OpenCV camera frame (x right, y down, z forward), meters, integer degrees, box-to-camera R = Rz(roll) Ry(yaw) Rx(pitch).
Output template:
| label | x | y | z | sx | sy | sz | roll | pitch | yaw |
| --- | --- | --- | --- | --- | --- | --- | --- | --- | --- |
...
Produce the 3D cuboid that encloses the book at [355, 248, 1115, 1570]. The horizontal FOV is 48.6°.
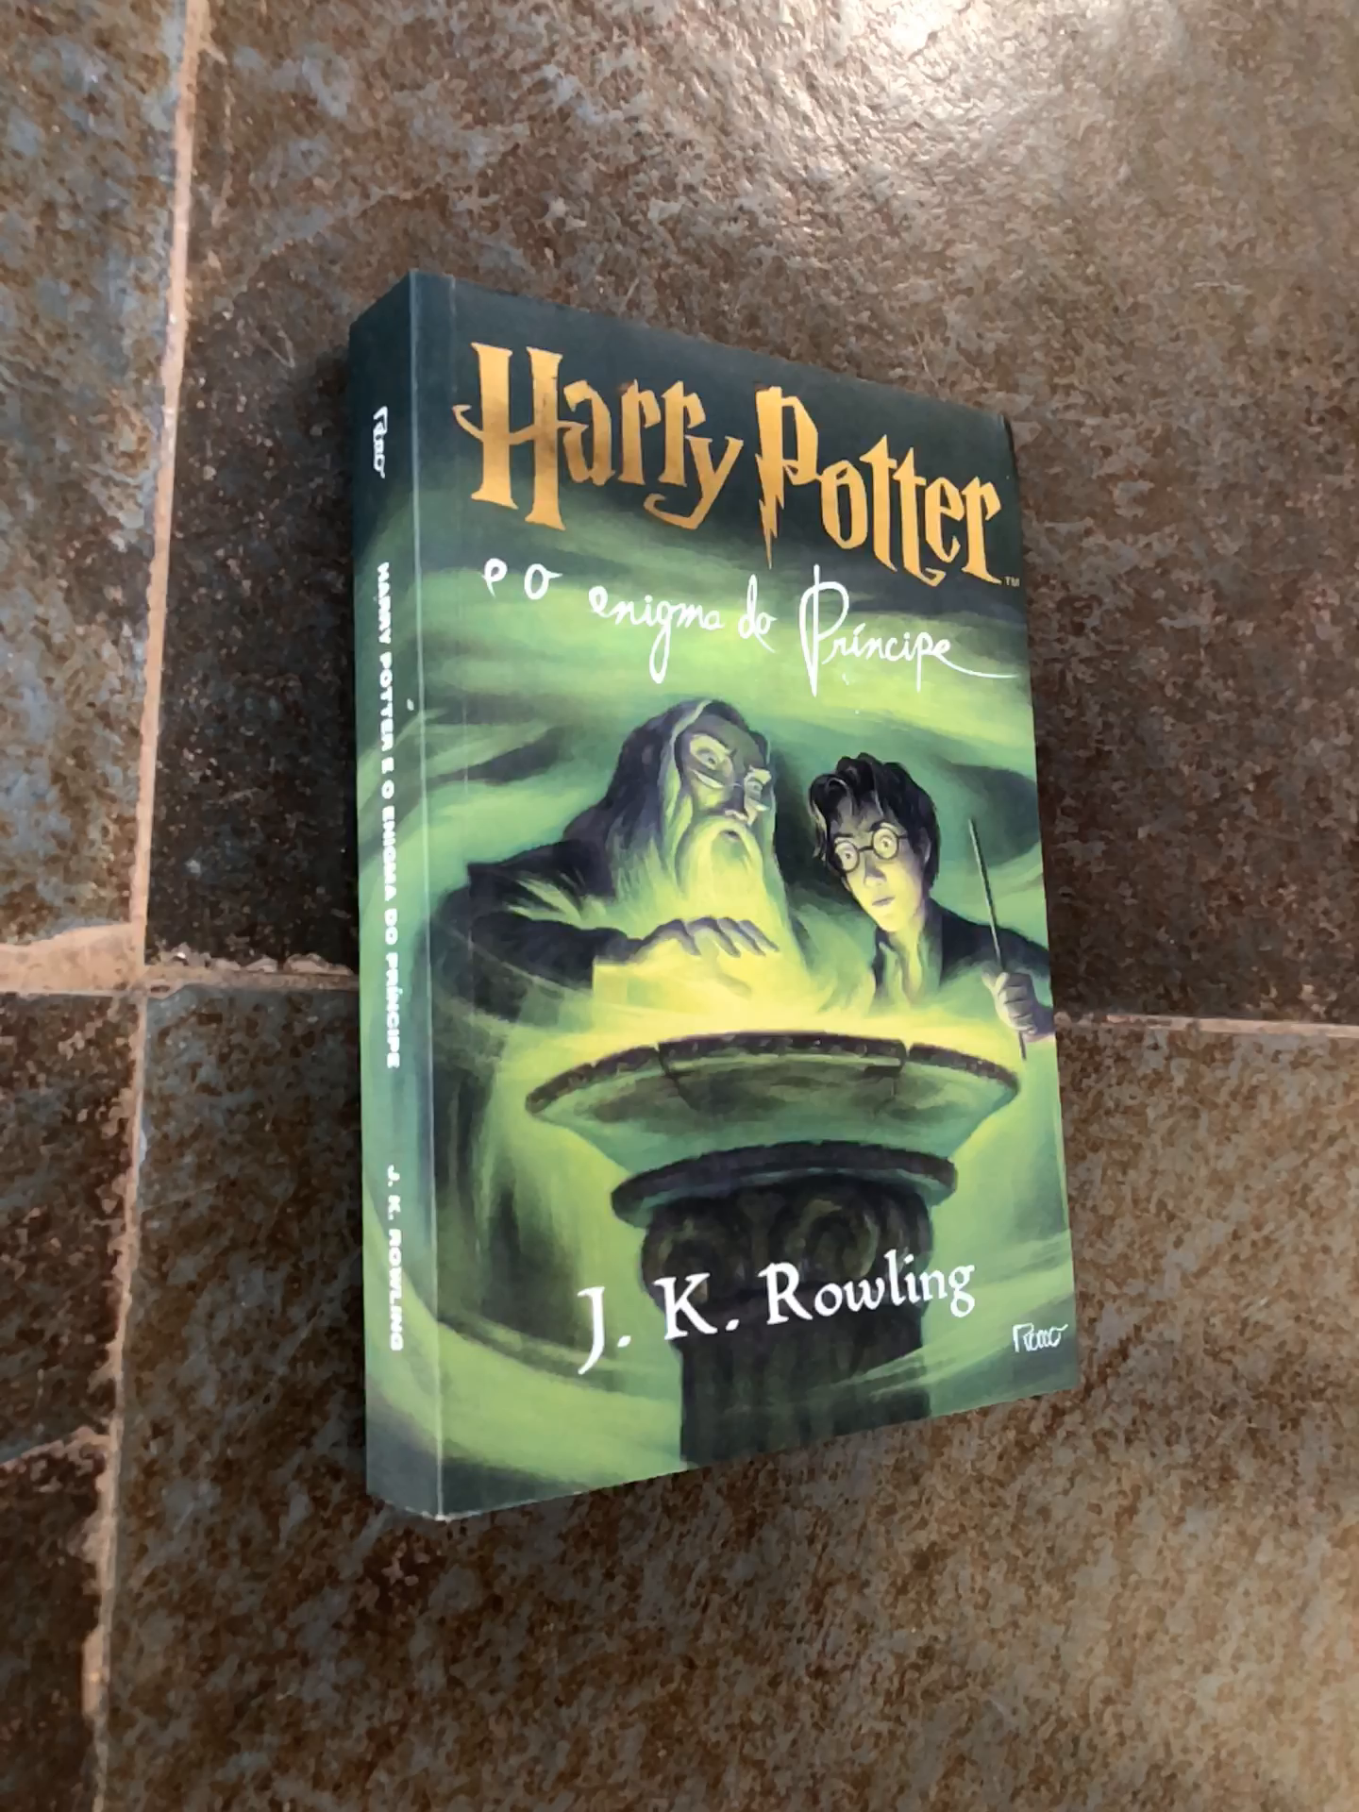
| label | x | y | z | sx | sy | sz | roll | pitch | yaw |
| --- | --- | --- | --- | --- | --- | --- | --- | --- | --- |
| book | 0.014 | -0.001 | 0.278 | 0.143 | 0.030 | 0.200 | 2 | 83 | -33 |
